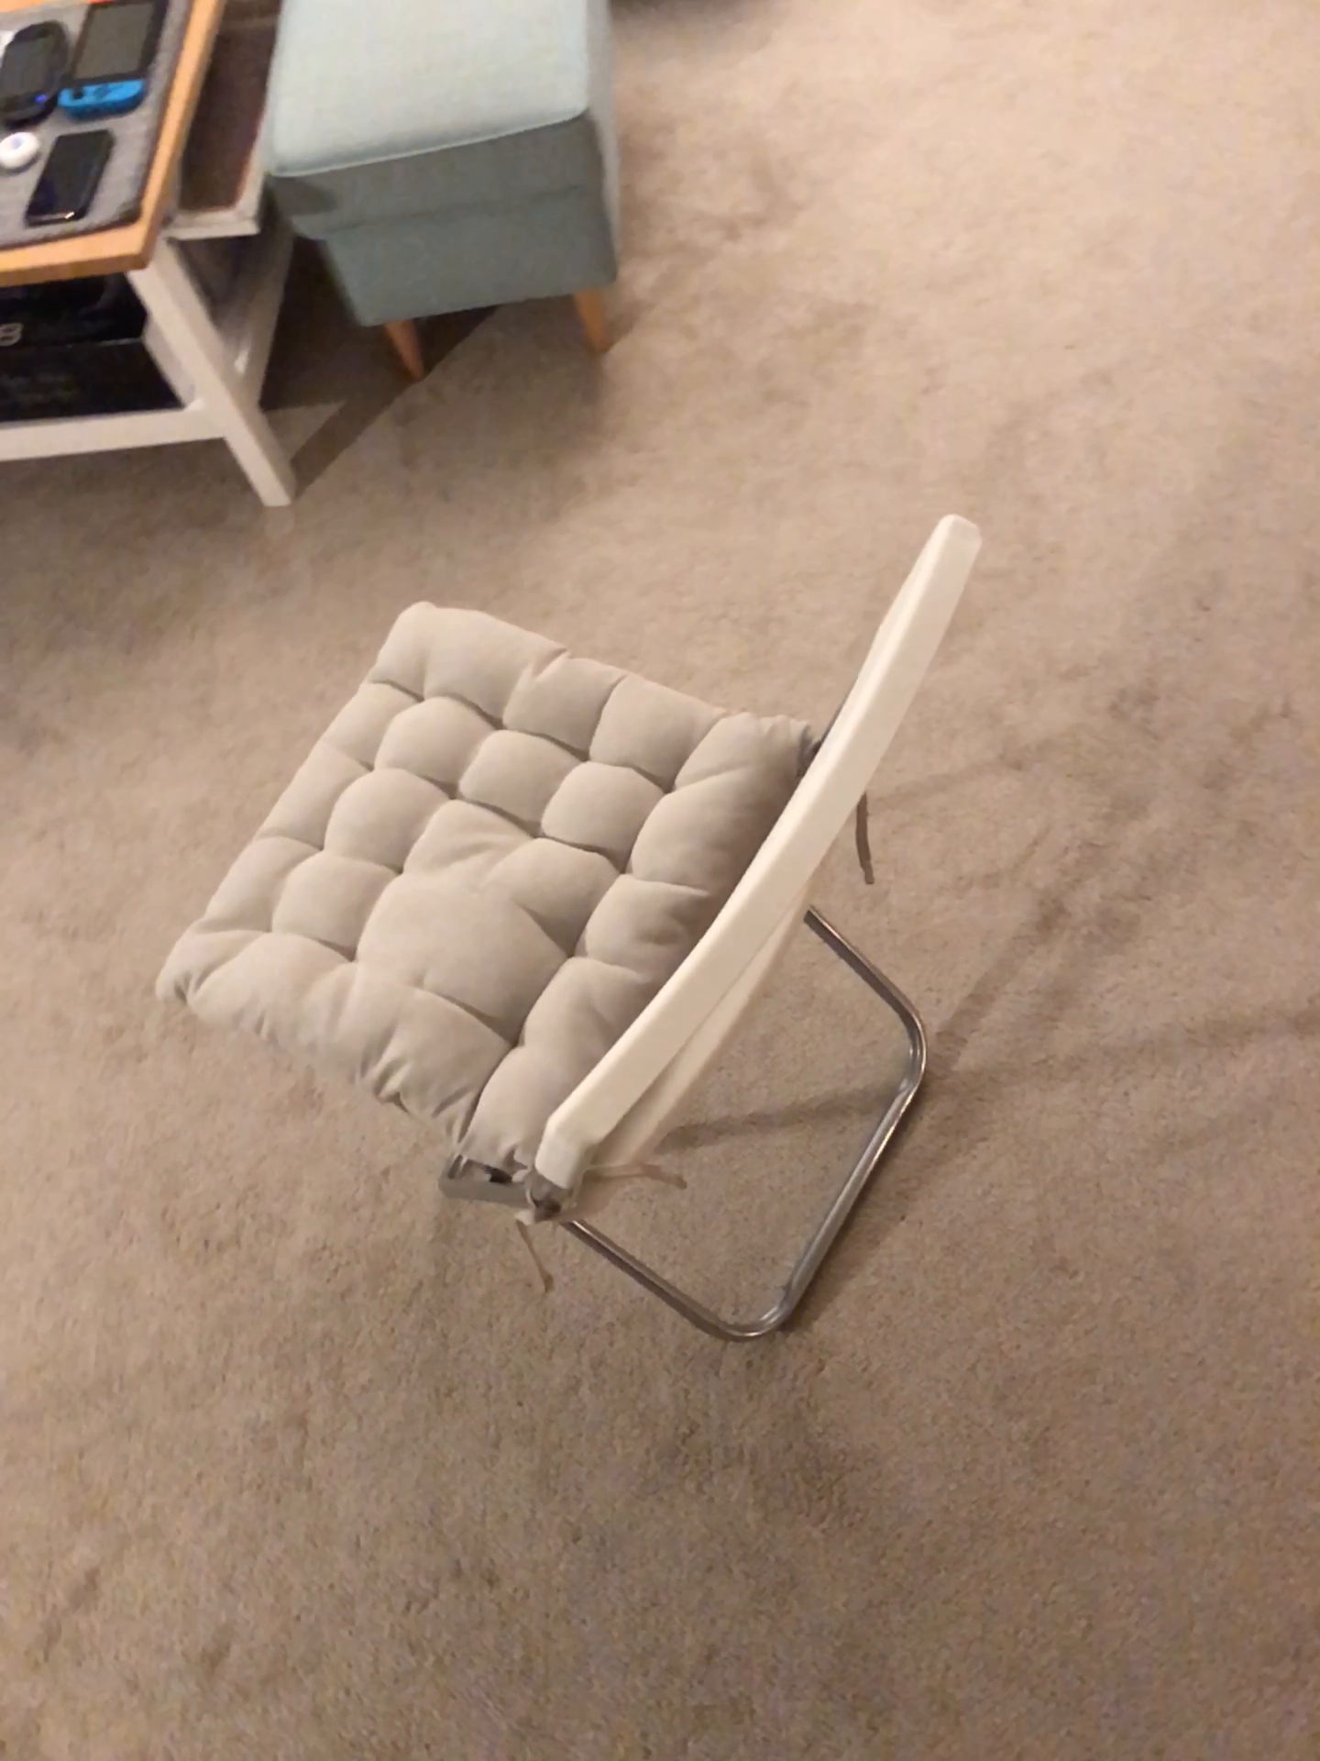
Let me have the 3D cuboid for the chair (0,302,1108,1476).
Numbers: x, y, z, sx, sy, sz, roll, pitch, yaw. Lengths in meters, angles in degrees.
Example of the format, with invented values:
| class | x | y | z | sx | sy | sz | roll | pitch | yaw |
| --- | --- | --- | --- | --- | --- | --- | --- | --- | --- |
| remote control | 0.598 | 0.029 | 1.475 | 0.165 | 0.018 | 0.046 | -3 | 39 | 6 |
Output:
| class | x | y | z | sx | sy | sz | roll | pitch | yaw |
| --- | --- | --- | --- | --- | --- | --- | --- | --- | --- |
| chair | -0.042 | 0.048 | 1.140 | 0.541 | 0.668 | 0.511 | 25 | 69 | 22 |
